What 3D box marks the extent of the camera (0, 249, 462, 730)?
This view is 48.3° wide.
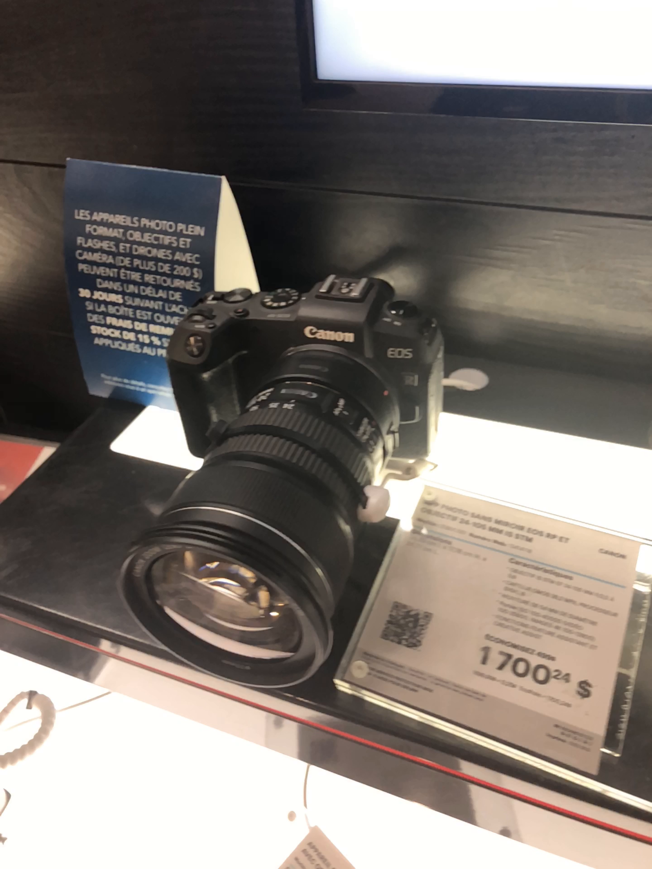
[{"bbox_3d":[-0.024,0.005,0.317,0.128,0.099,0.178,9,37,17],"label":"camera"}]
